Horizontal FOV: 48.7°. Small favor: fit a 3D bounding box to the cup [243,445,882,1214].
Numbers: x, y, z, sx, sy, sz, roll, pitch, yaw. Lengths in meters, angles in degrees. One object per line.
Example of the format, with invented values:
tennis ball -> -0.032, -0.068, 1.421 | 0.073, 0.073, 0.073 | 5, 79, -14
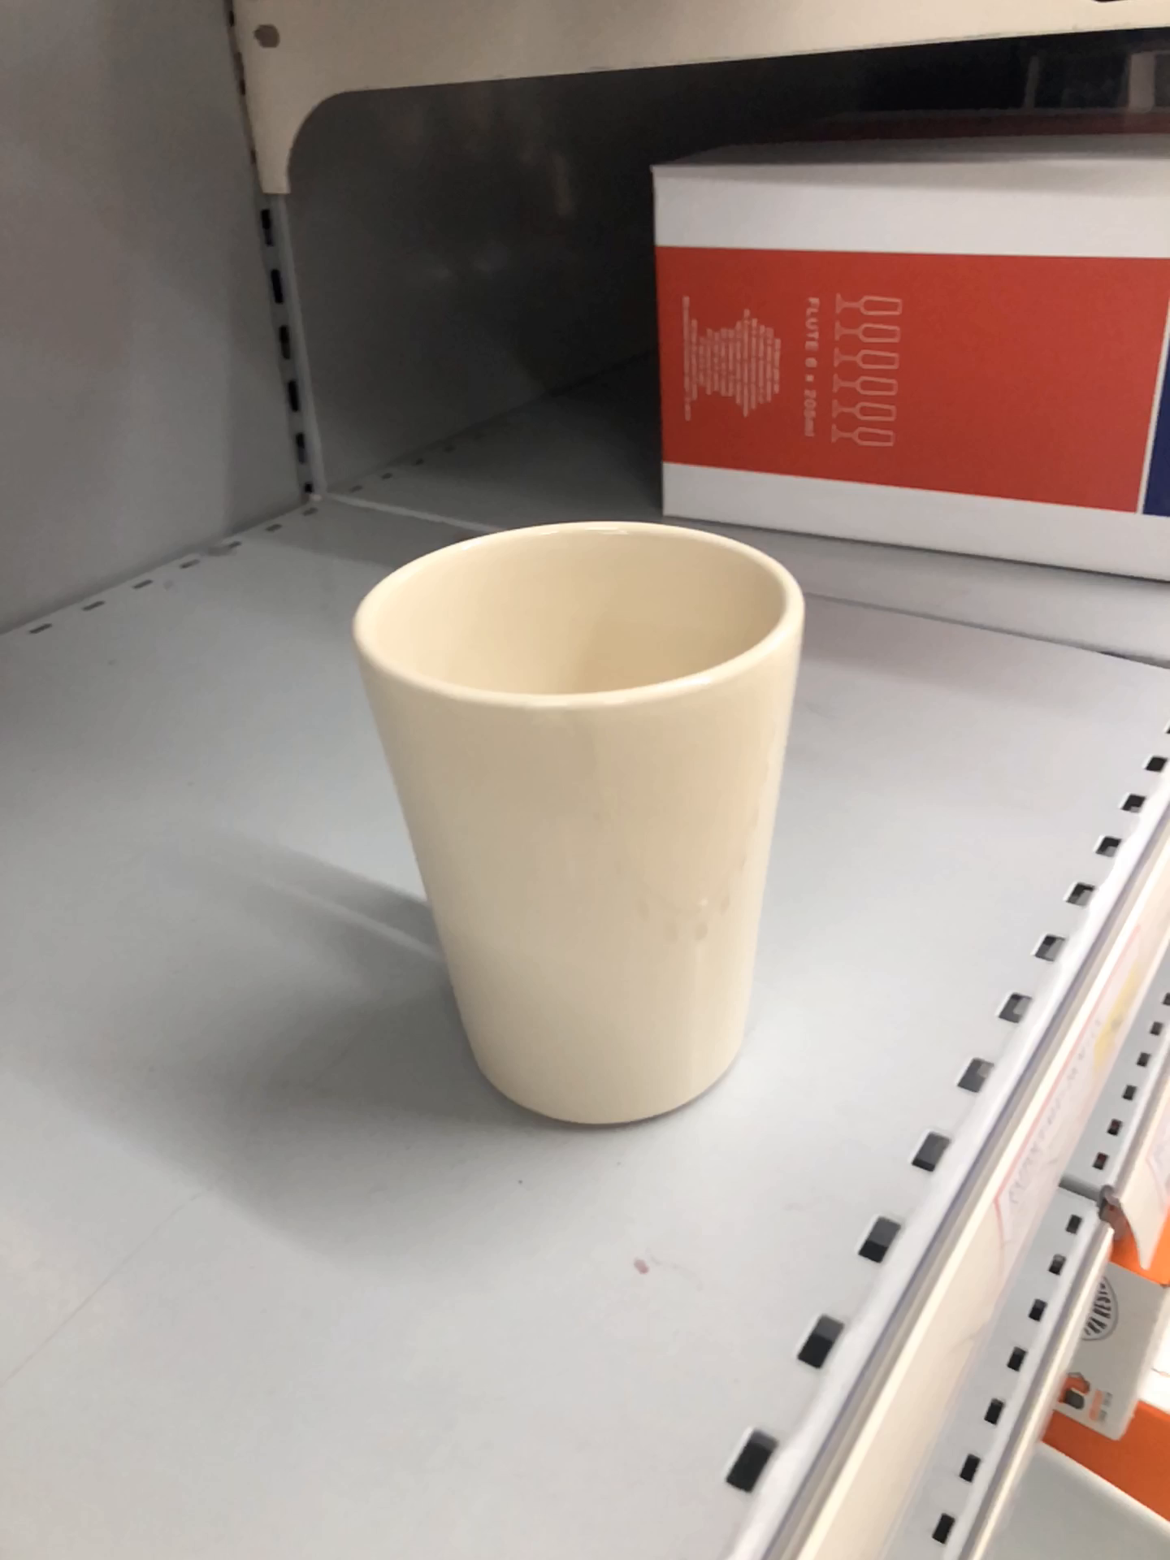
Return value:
cup -> -0.010, 0.000, 0.274 | 0.082, 0.099, 0.119 | -15, 33, -20
